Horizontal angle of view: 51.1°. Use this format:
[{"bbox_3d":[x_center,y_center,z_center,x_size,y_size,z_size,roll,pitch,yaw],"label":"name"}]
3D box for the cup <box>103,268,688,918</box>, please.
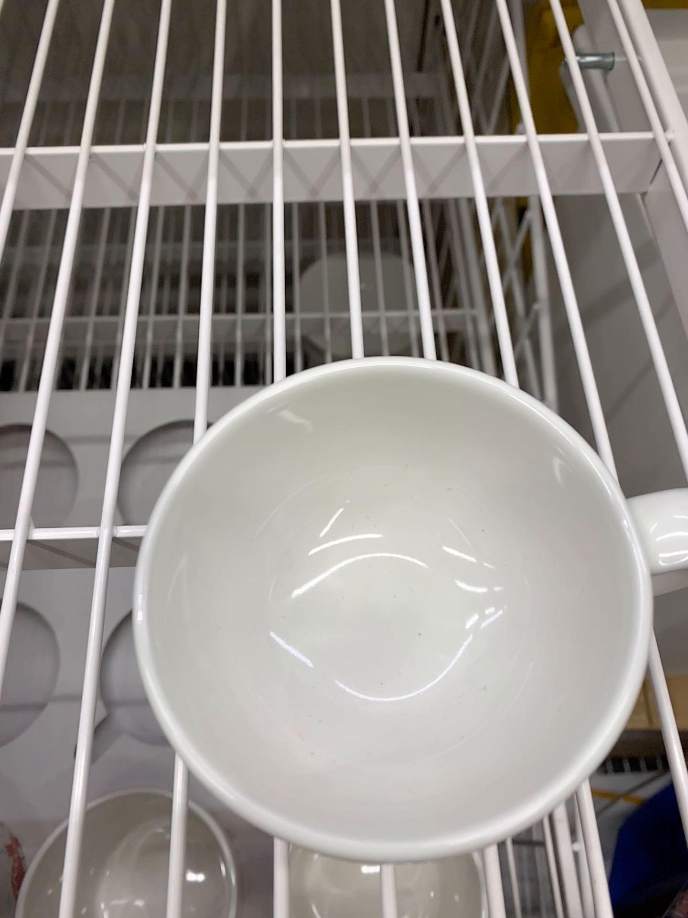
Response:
[{"bbox_3d":[0.021,0.021,0.130,0.116,0.036,0.096,-8,63,-5],"label":"cup"}]
